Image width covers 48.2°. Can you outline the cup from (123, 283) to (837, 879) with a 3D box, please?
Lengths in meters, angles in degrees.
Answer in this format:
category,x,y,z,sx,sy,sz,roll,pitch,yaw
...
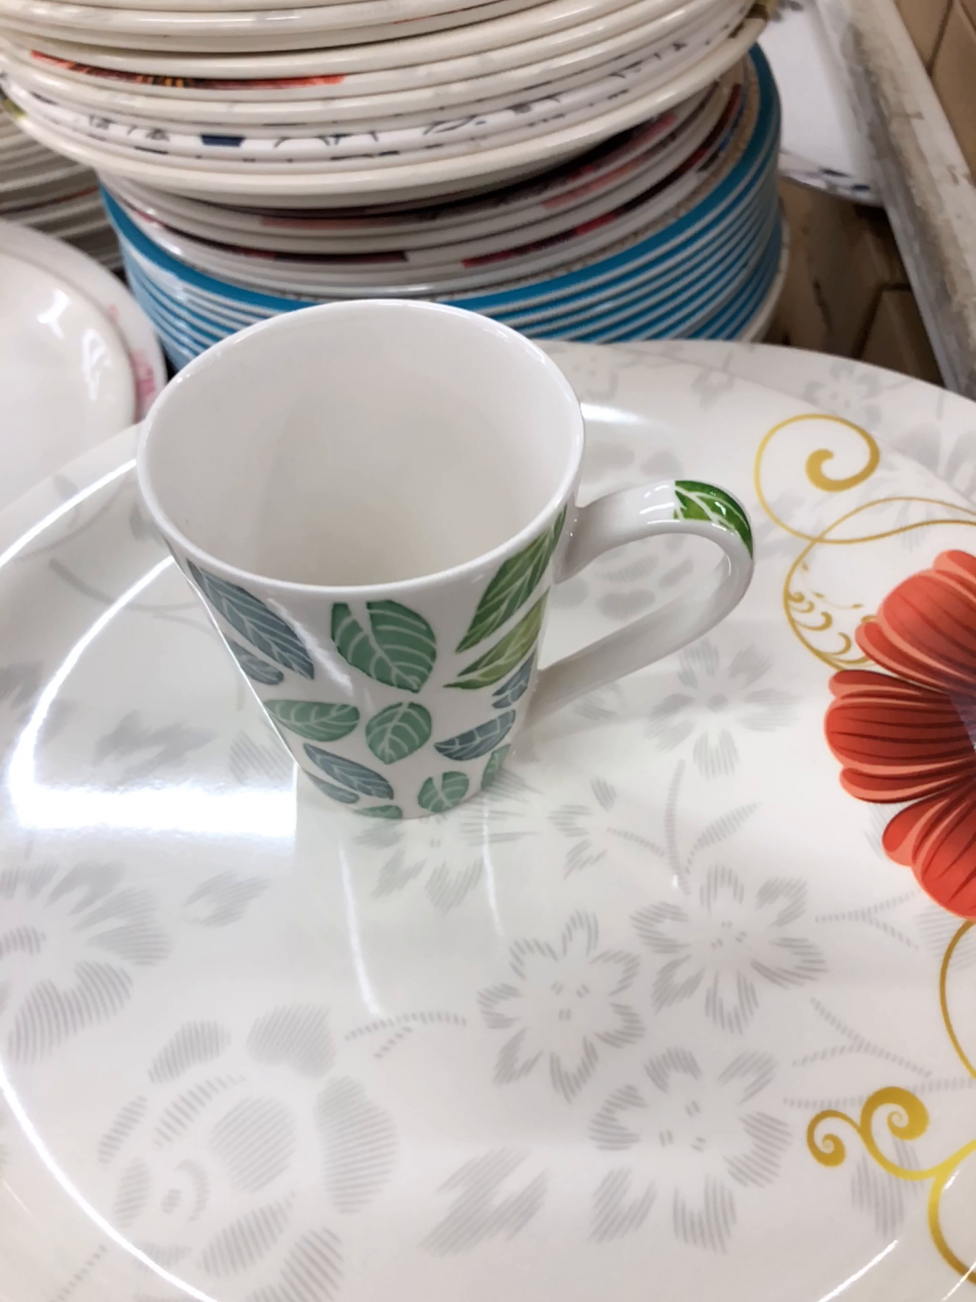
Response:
category,x,y,z,sx,sy,sz,roll,pitch,yaw
cup,0.000,-0.010,0.255,0.120,0.119,0.080,0,53,1
